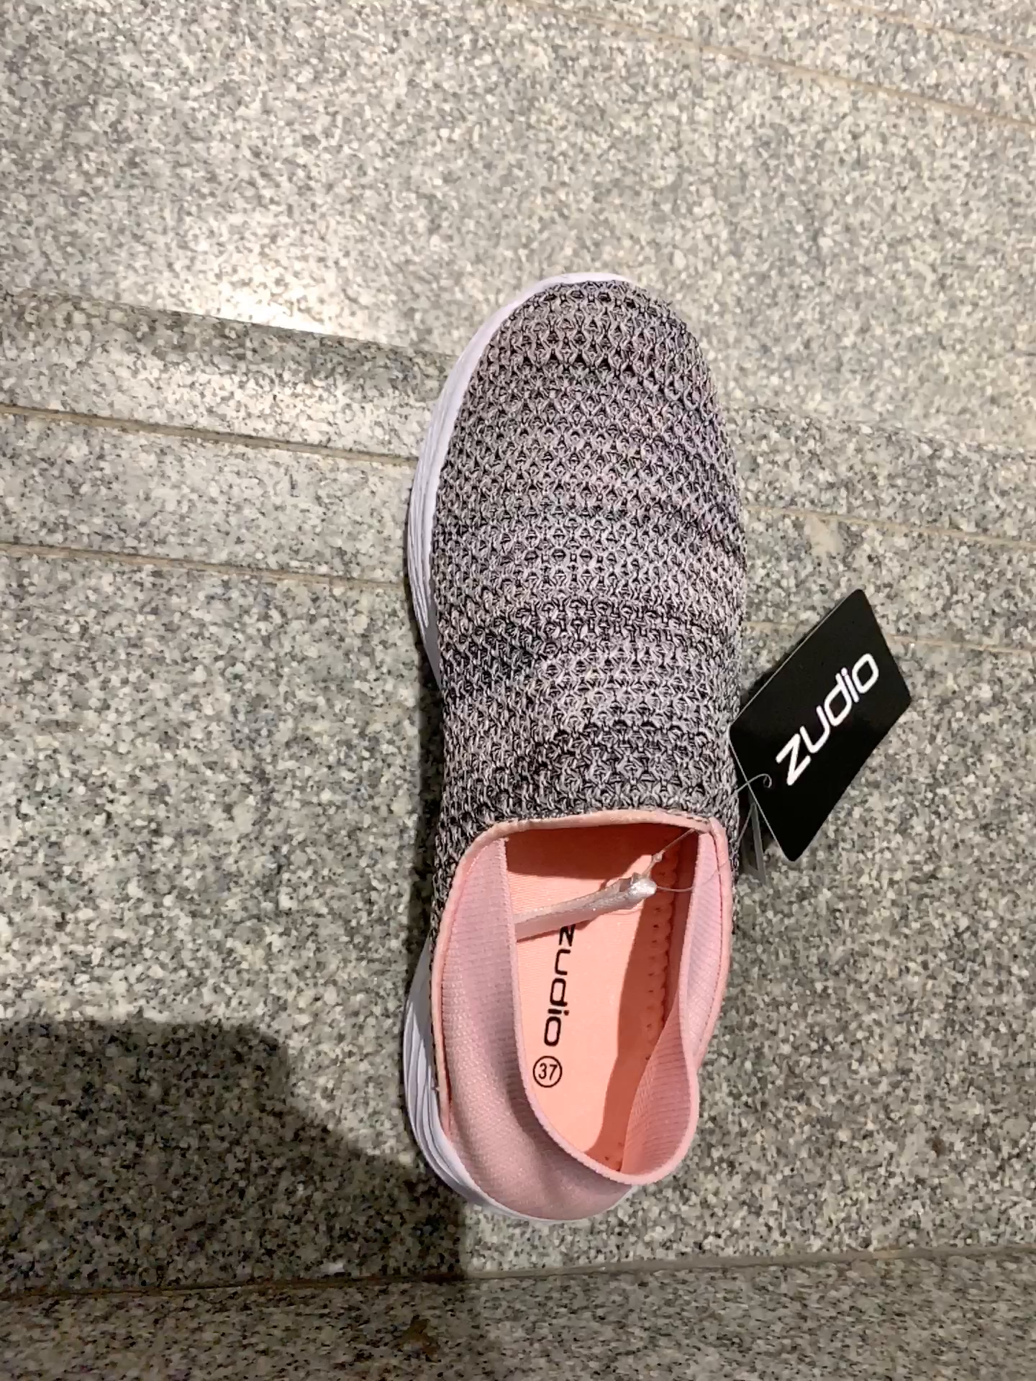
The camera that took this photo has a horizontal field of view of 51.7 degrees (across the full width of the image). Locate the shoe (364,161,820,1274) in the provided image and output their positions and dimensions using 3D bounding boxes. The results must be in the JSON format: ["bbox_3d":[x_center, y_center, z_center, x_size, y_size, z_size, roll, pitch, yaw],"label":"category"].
[{"bbox_3d":[0.014,0.008,0.290,0.090,0.080,0.250,3,91,-15],"label":"shoe"}]
